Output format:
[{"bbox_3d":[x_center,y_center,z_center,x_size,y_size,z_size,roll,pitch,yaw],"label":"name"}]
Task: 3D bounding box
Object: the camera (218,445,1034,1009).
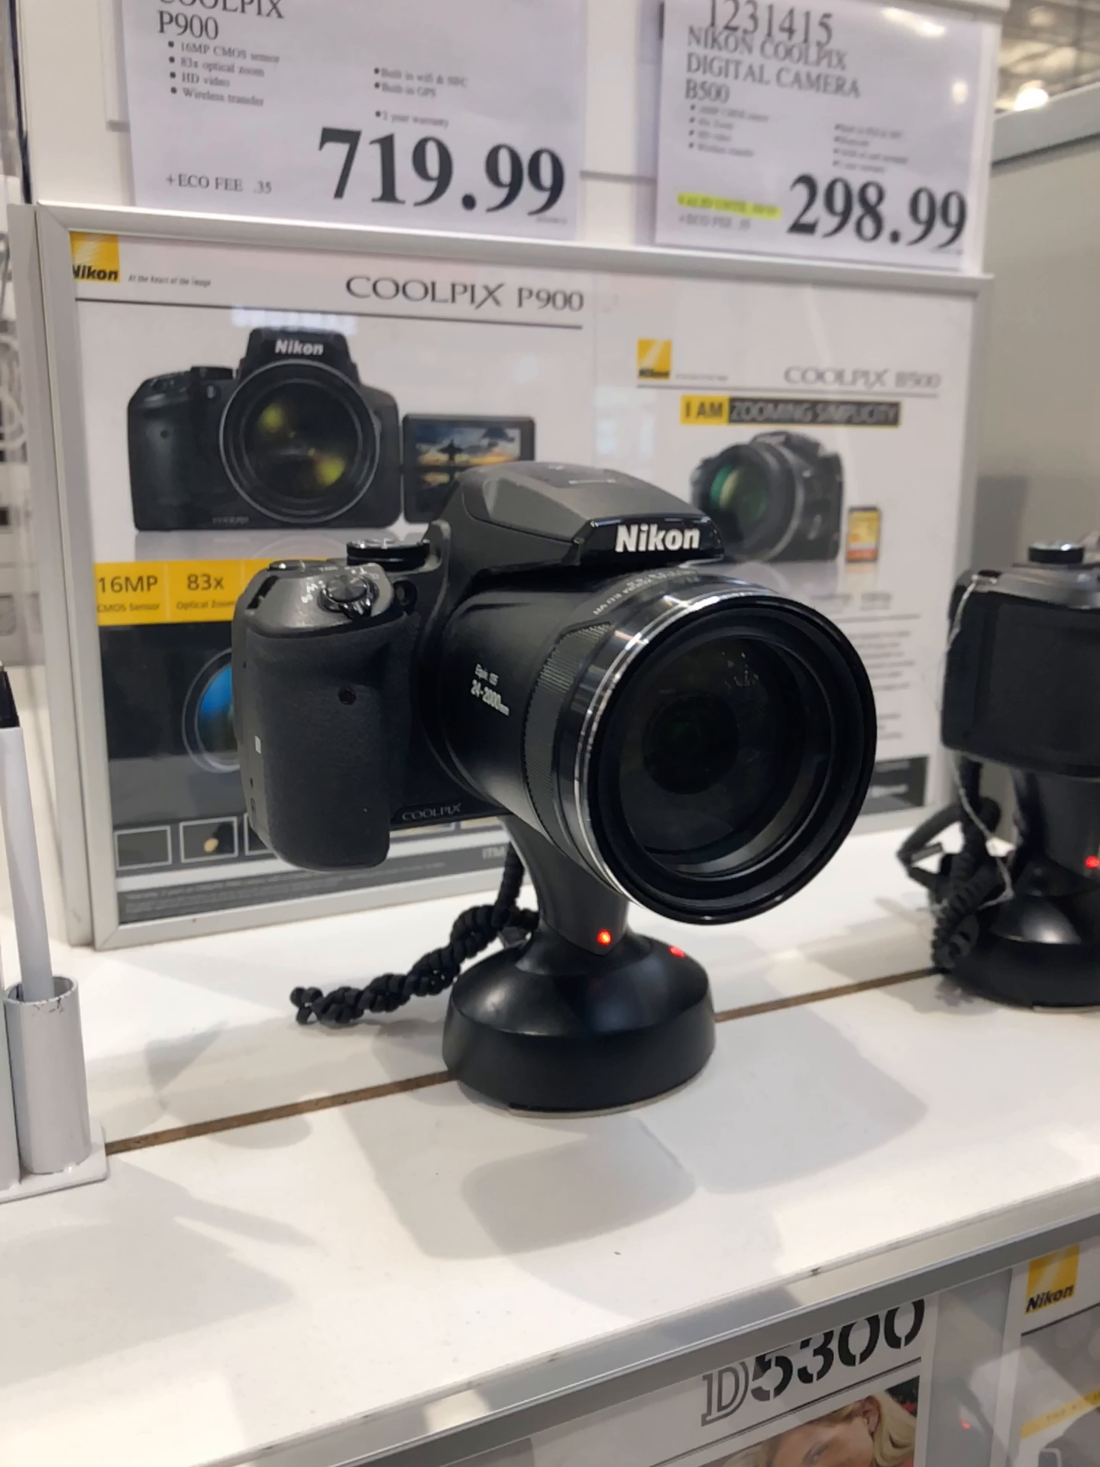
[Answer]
[{"bbox_3d":[0.007,-0.020,0.307,0.150,0.100,0.141,-5,15,-23],"label":"camera"}]
